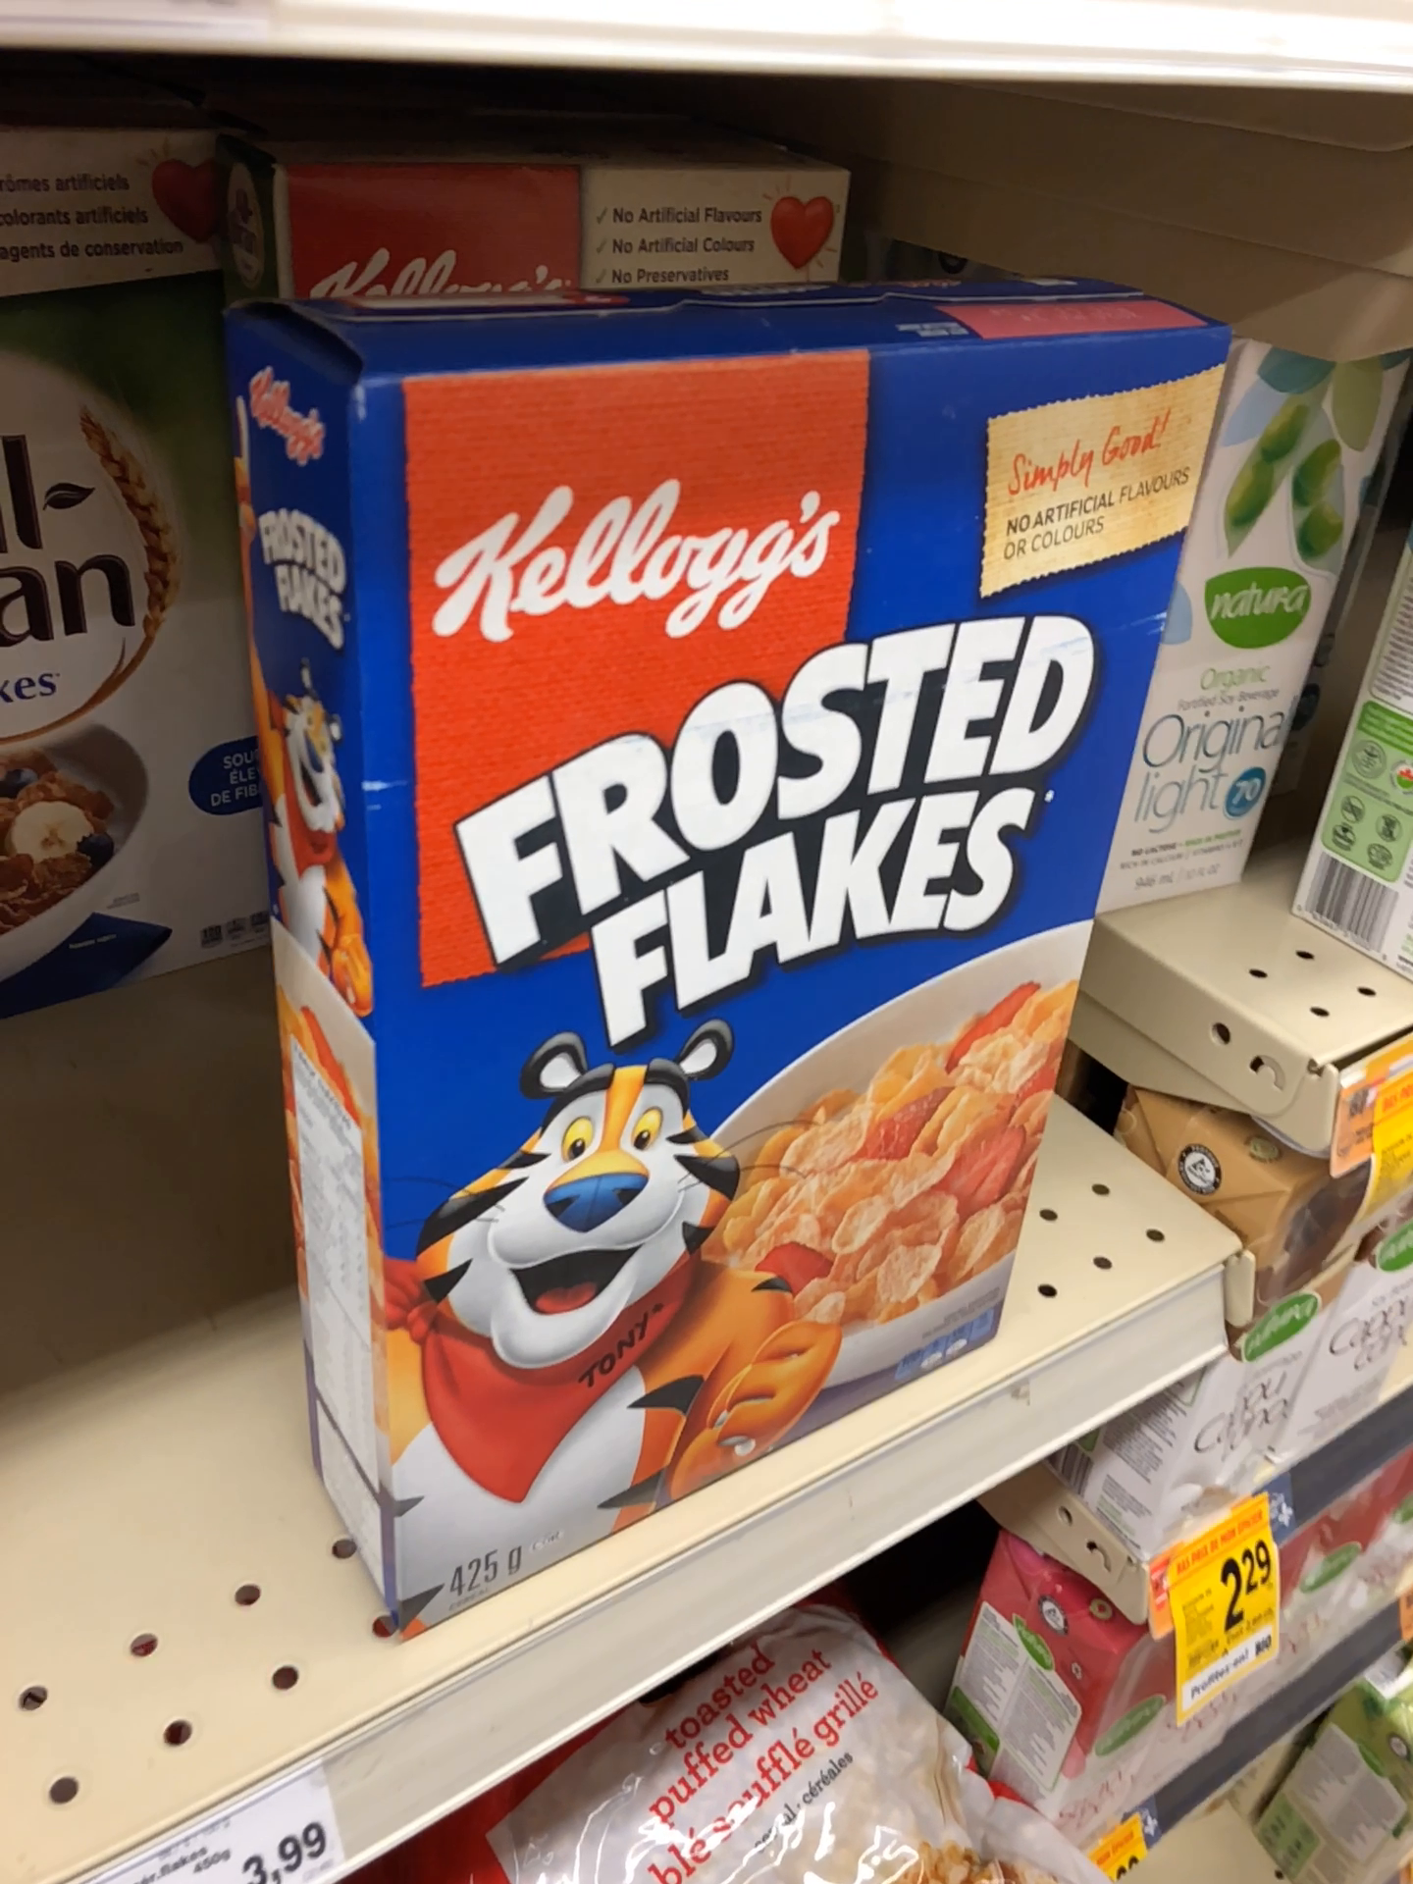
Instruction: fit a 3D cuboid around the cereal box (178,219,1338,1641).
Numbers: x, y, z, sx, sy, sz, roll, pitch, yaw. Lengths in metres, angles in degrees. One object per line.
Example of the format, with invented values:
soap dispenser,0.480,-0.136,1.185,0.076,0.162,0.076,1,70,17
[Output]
cereal box,0.012,-0.004,0.348,0.211,0.278,0.060,-16,36,-30
